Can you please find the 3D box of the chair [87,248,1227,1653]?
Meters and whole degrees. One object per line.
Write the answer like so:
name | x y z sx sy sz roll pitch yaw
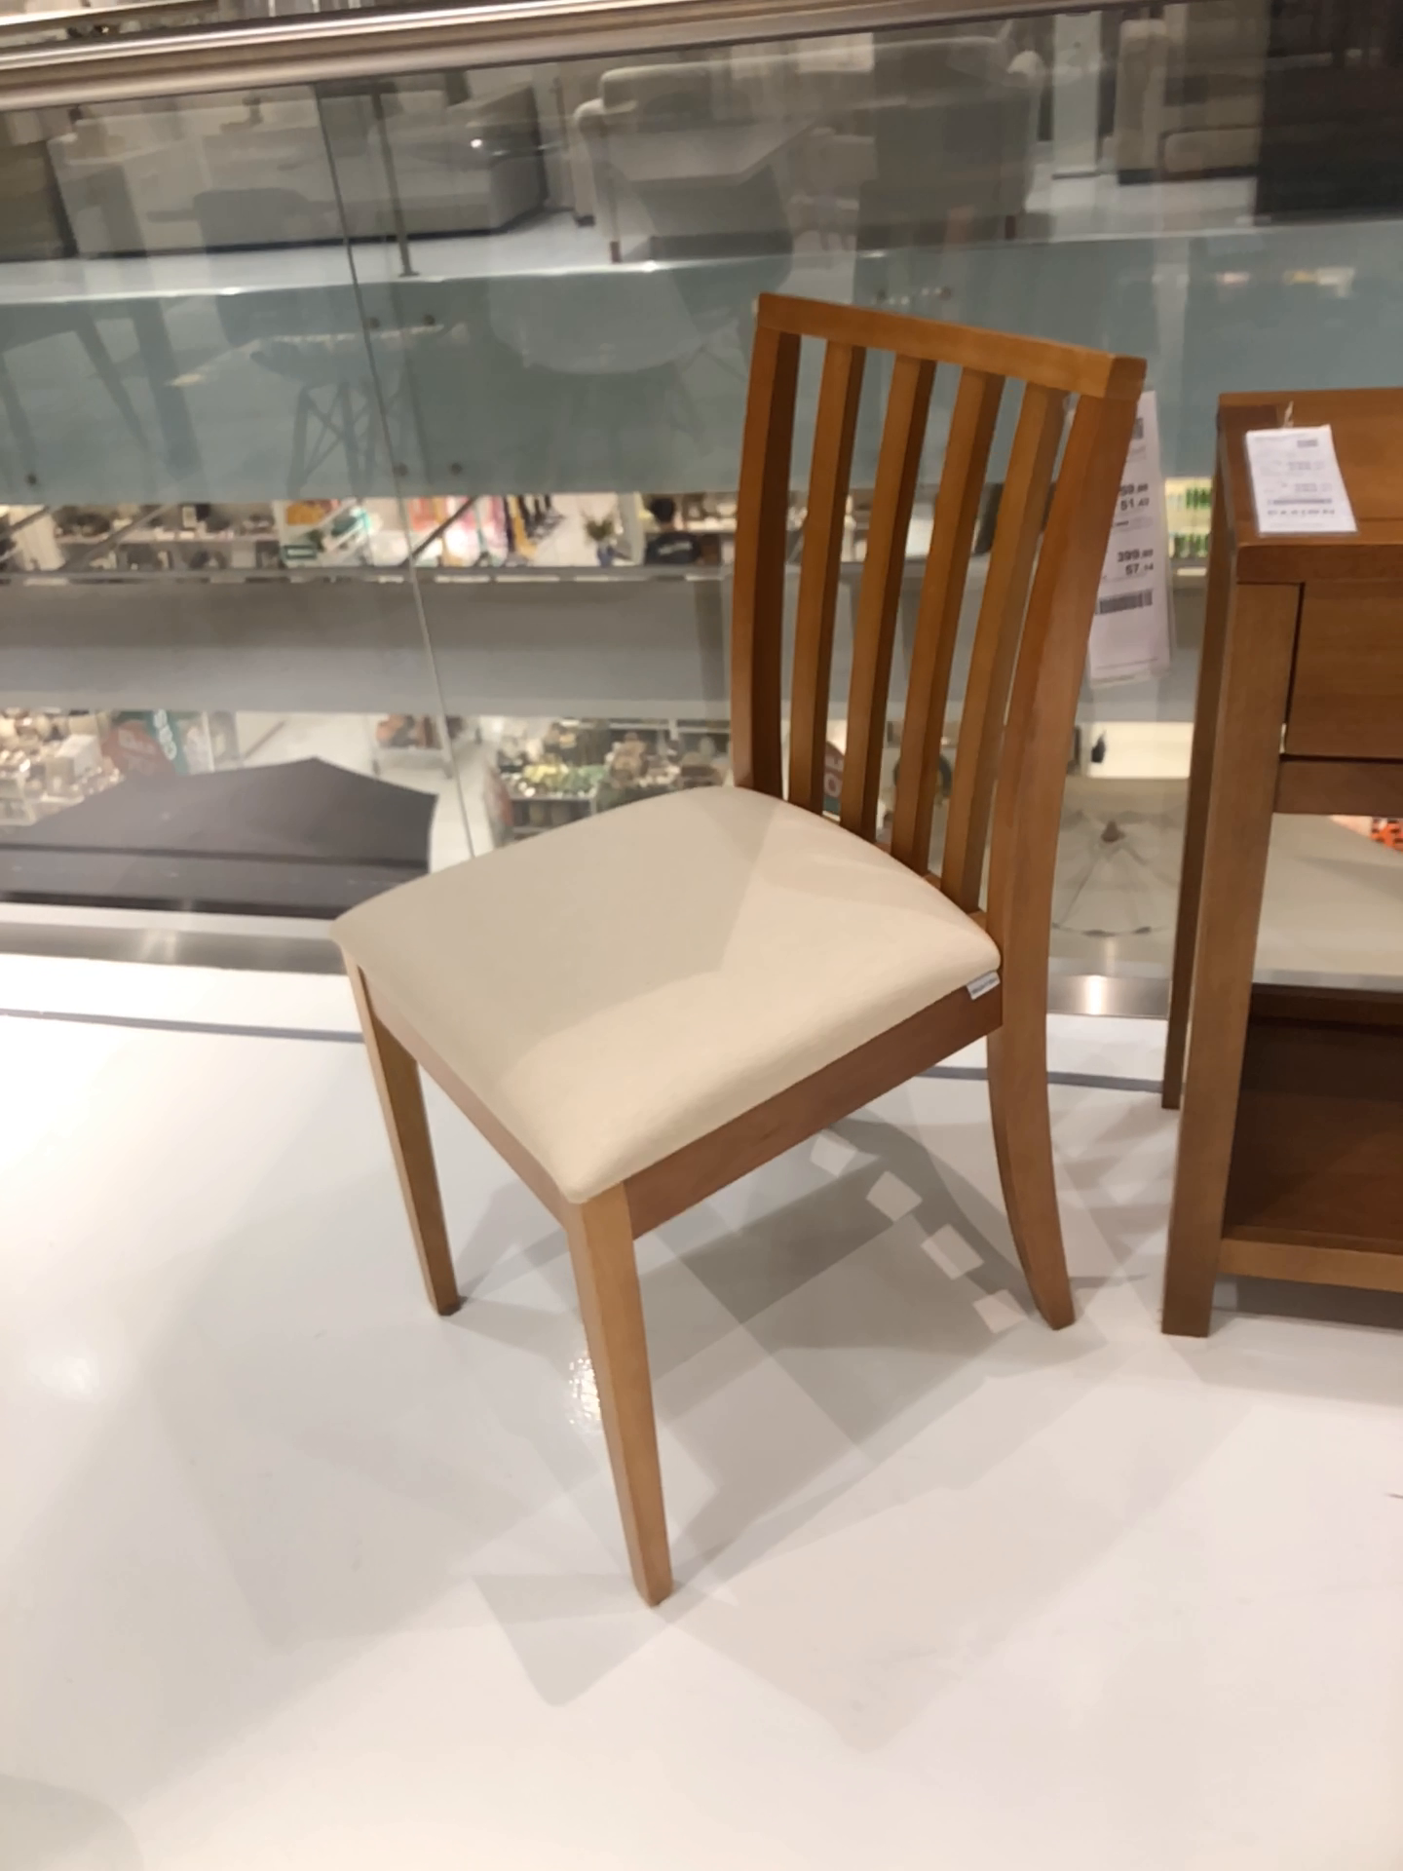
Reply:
chair | -0.018 -0.031 1.243 0.551 0.833 0.543 -24 36 -26
